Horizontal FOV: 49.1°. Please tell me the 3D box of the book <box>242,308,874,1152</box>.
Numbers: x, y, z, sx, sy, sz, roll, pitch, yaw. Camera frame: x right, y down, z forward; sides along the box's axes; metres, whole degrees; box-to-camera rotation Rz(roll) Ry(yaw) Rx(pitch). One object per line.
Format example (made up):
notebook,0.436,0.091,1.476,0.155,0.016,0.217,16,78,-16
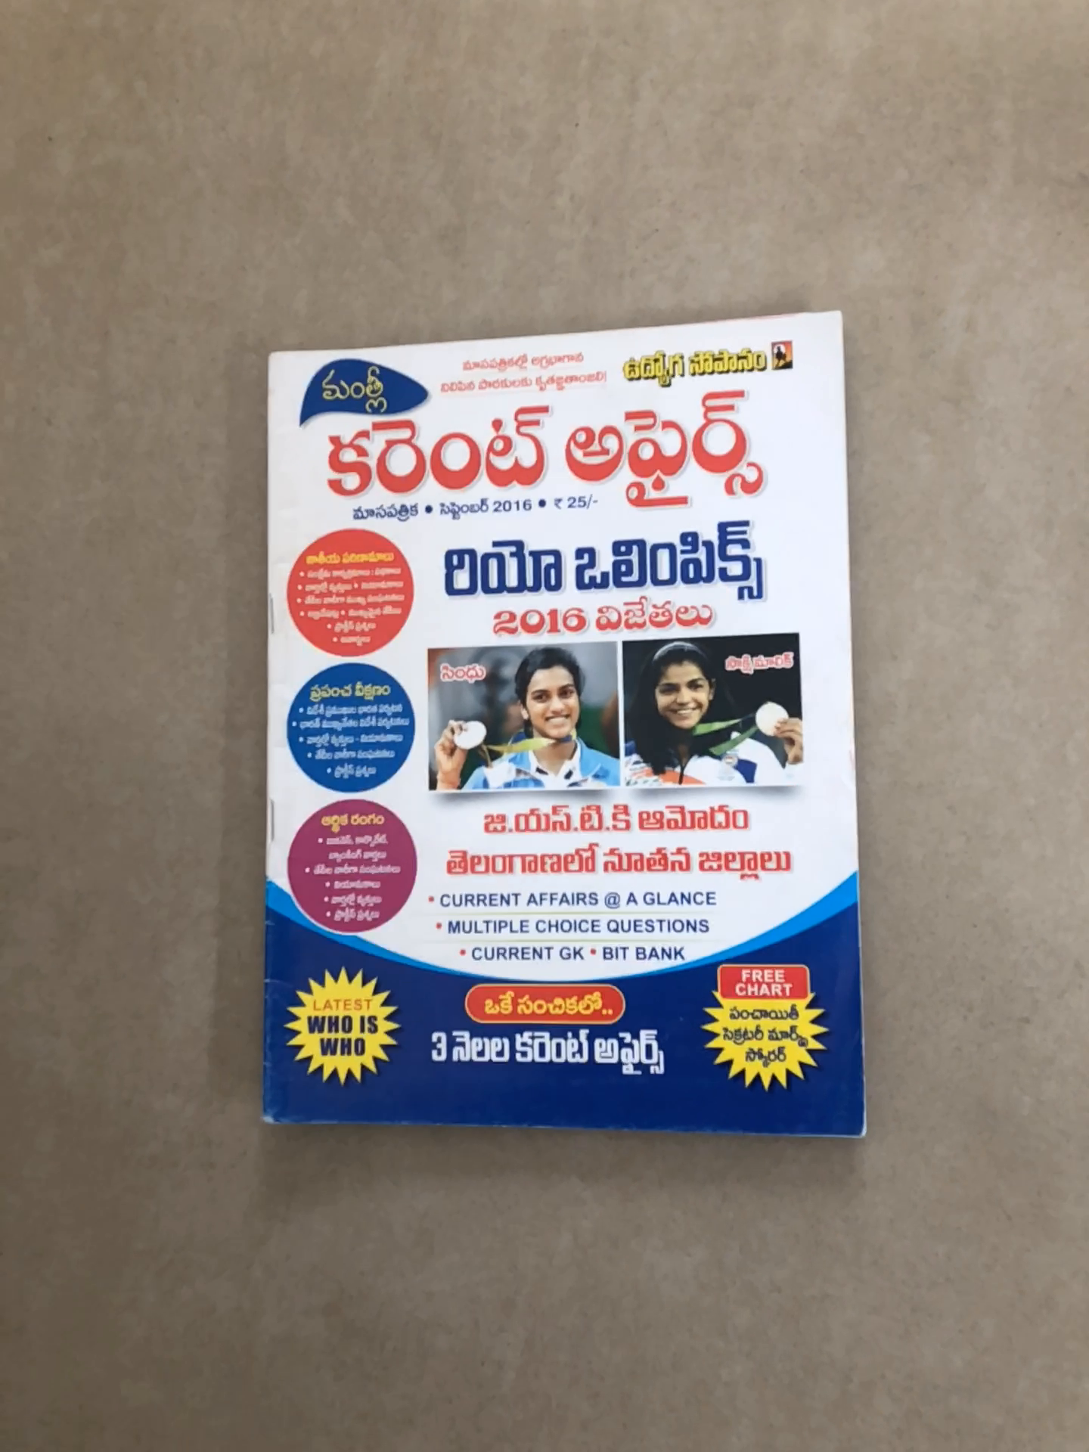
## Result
book,0.000,-0.001,0.387,0.200,0.010,0.260,-1,86,10
